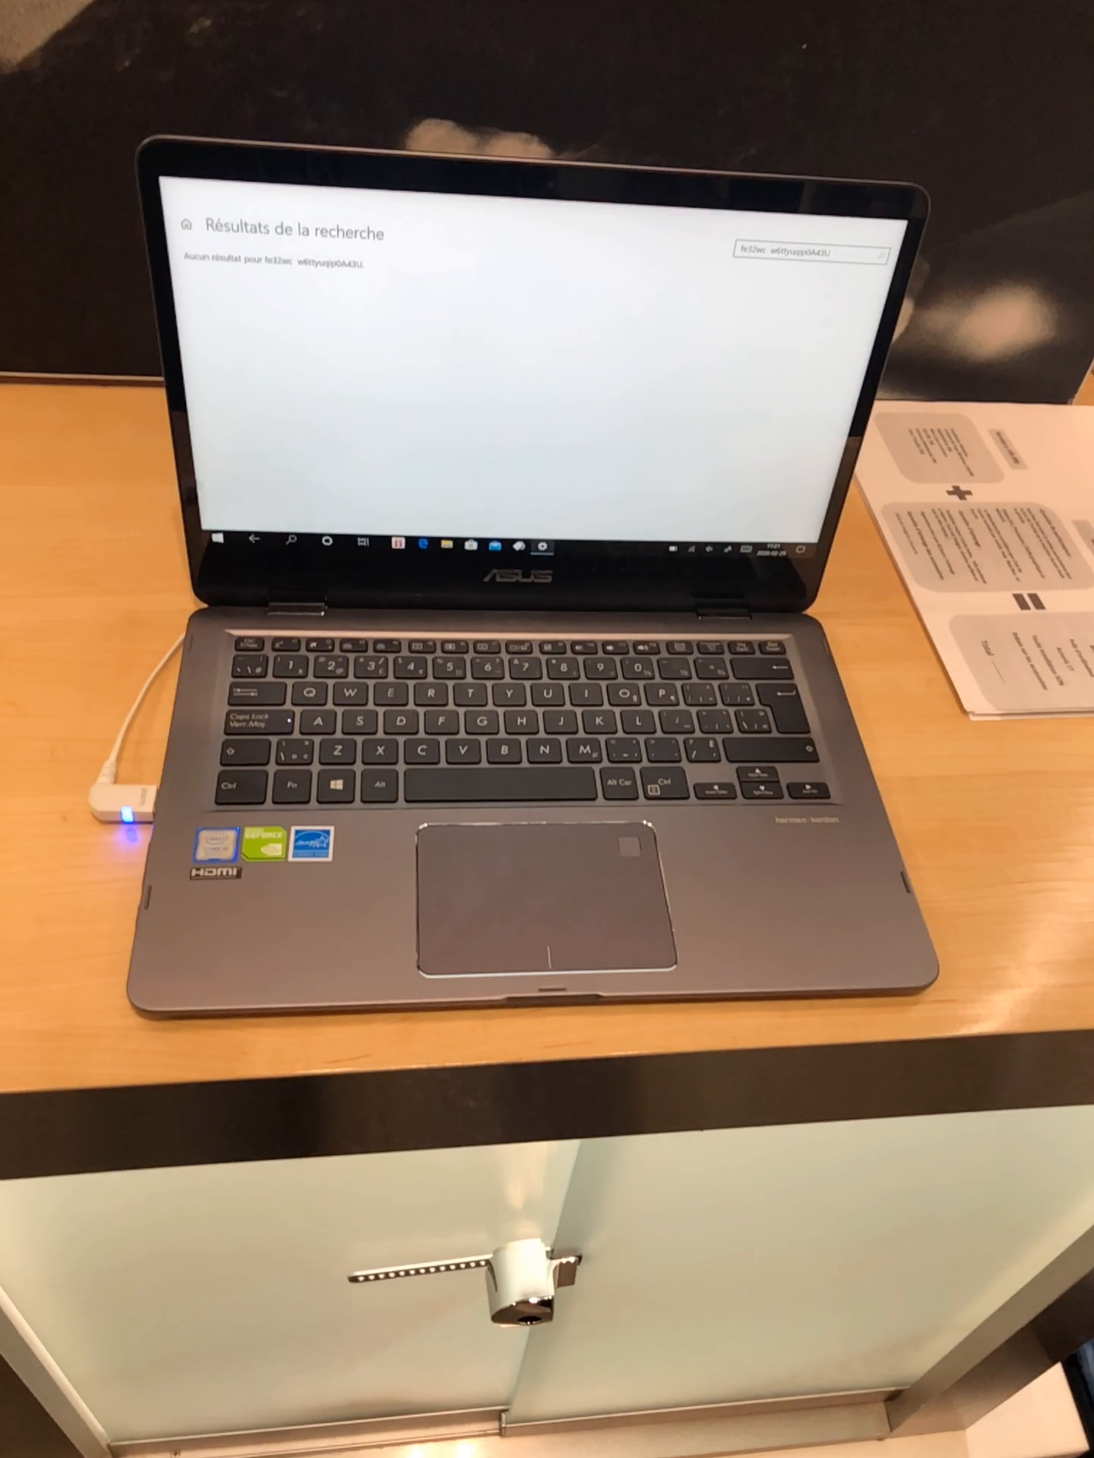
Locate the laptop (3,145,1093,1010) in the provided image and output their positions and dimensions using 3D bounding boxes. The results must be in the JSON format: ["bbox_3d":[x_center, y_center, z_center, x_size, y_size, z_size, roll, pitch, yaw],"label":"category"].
[{"bbox_3d":[0.004,-0.057,0.479,0.320,0.224,0.240,0,48,-8],"label":"laptop"}]
